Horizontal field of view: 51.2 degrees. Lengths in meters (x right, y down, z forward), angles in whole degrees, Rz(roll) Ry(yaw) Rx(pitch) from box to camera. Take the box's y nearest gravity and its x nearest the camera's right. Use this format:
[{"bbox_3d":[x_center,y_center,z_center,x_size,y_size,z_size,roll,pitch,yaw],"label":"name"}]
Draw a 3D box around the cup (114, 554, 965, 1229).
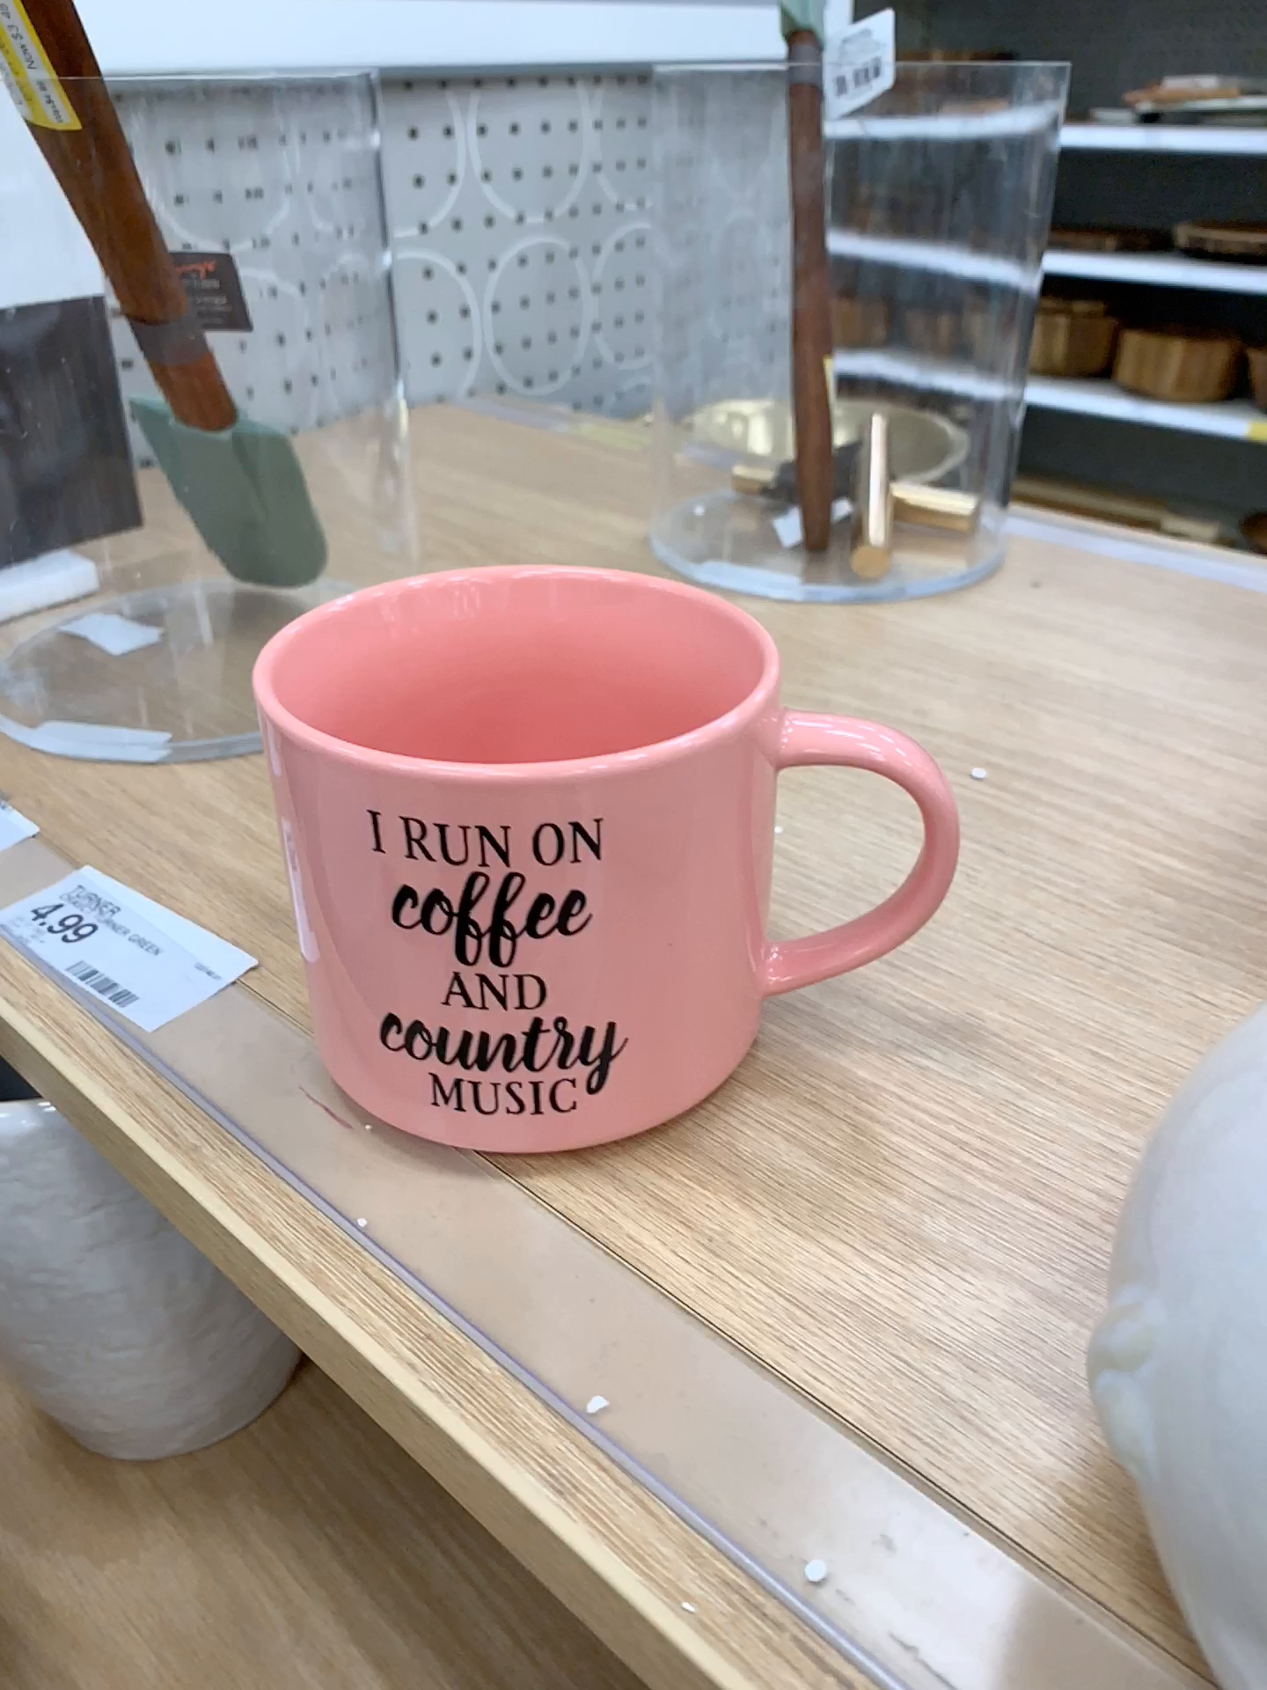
[{"bbox_3d":[-0.009,0.001,0.267,0.133,0.085,0.104,4,30,8],"label":"cup"}]
